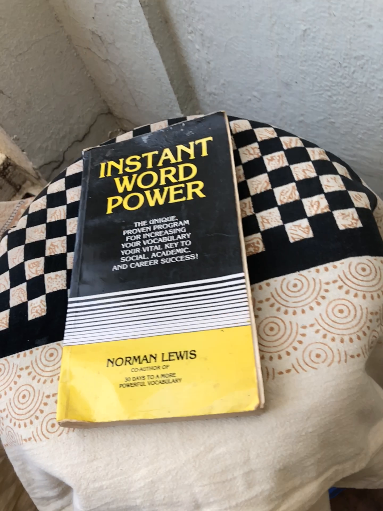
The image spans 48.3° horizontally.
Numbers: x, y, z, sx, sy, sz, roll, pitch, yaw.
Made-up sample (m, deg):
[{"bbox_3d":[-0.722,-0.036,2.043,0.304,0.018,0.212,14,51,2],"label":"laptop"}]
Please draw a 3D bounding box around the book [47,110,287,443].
[{"bbox_3d":[-0.024,-0.004,0.384,0.160,0.040,0.300,-11,52,11],"label":"book"}]
